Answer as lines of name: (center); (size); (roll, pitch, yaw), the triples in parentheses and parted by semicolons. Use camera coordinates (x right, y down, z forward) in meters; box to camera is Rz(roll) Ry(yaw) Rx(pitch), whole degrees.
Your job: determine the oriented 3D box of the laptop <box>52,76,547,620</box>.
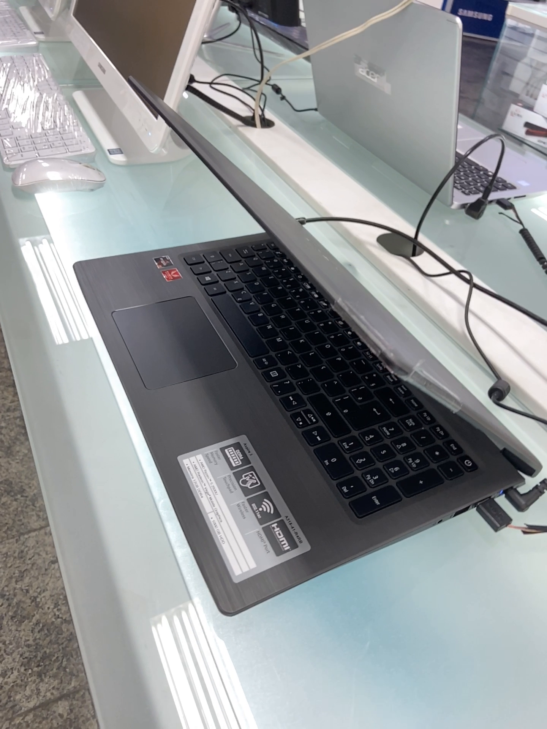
laptop: (0.005, -0.062, 0.394); (0.220, 0.155, 0.344); (-15, 46, -24)
